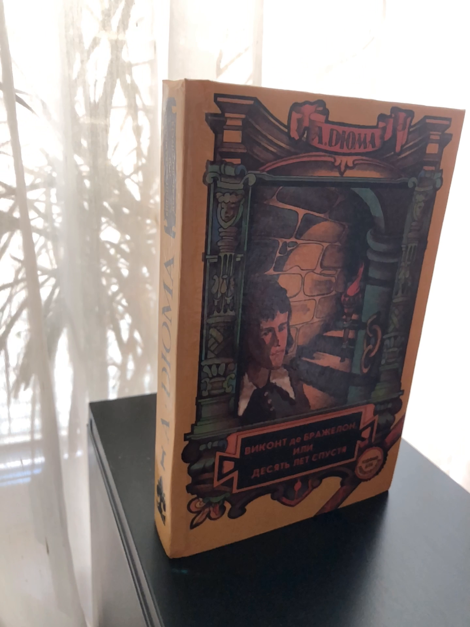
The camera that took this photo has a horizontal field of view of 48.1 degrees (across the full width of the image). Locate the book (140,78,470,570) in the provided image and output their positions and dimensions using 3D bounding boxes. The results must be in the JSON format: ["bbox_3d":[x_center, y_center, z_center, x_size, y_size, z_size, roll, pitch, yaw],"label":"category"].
[{"bbox_3d":[0.031,0.005,0.256,0.143,0.209,0.045,-7,23,-25],"label":"book"}]
